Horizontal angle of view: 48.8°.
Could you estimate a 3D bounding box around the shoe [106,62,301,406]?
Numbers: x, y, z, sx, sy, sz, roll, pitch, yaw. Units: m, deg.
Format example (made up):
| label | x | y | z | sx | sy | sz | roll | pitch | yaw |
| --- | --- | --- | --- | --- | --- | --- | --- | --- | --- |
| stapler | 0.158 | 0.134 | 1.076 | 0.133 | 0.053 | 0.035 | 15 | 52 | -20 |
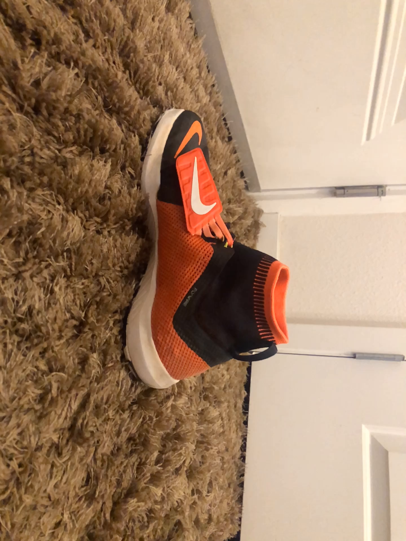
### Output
| label | x | y | z | sx | sy | sz | roll | pitch | yaw |
| --- | --- | --- | --- | --- | --- | --- | --- | --- | --- |
| shoe | 0.019 | -0.035 | 0.435 | 0.111 | 0.139 | 0.303 | 57 | 36 | -64 |
